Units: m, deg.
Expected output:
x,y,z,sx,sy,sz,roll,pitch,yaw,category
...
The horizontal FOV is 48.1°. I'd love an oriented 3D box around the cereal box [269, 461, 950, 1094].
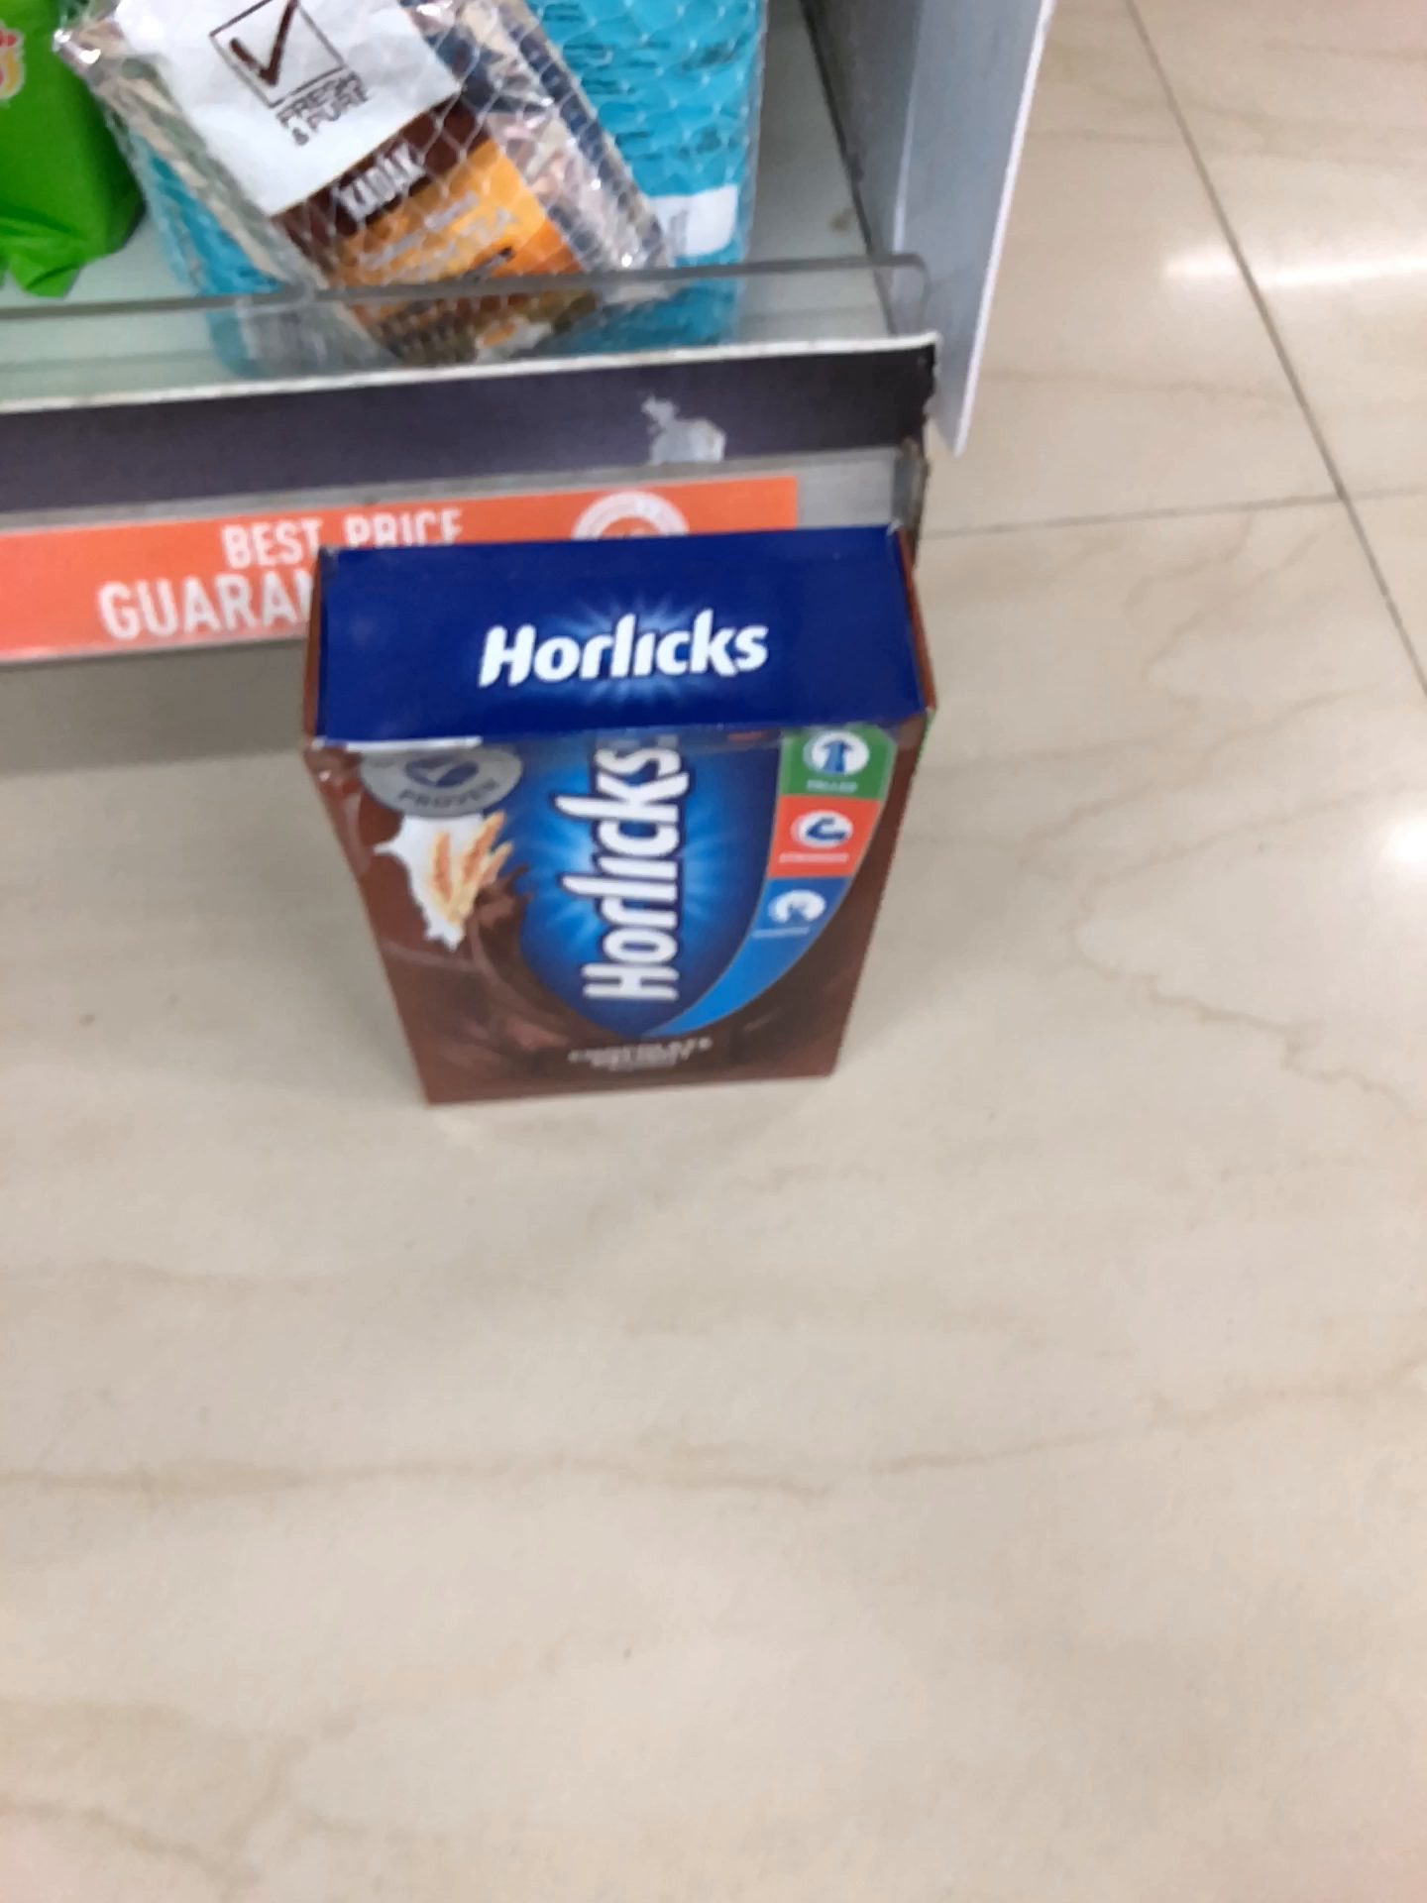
x,y,z,sx,sy,sz,roll,pitch,yaw,category
-0.027,-0.033,0.436,0.140,0.209,0.060,-4,64,-5,cereal box
